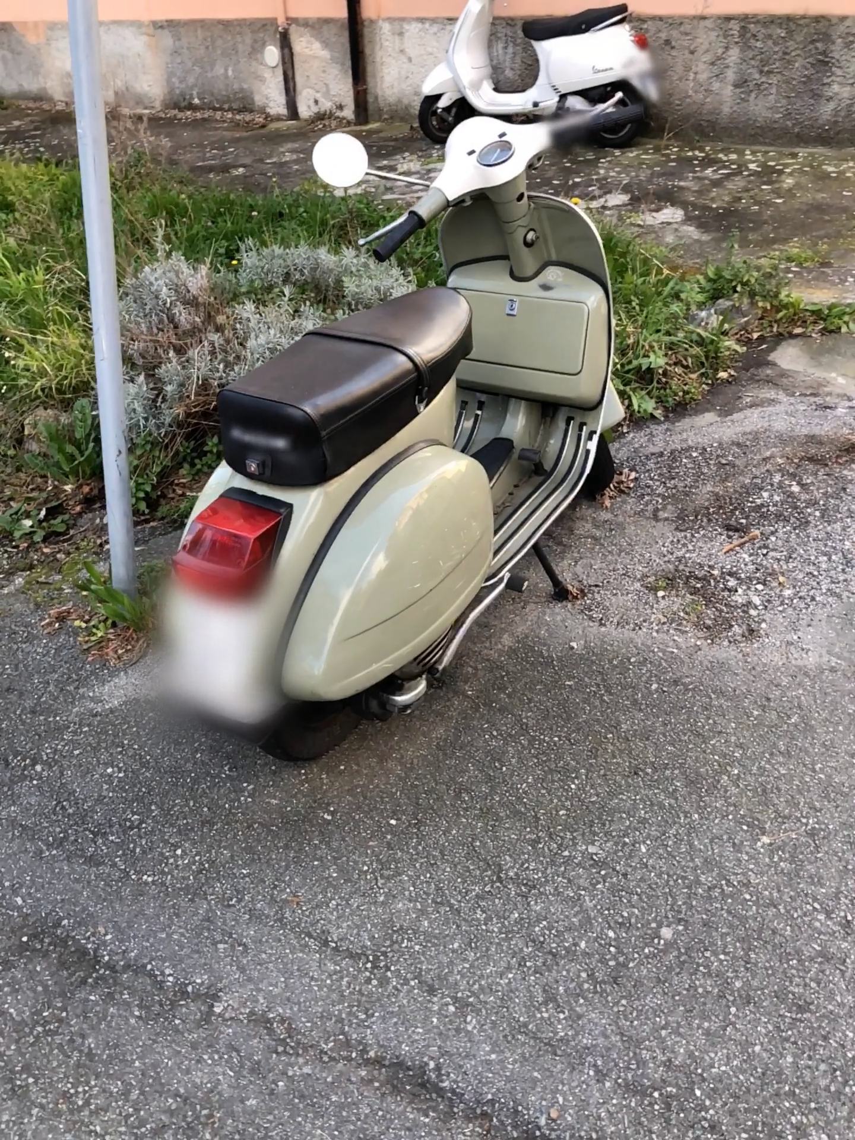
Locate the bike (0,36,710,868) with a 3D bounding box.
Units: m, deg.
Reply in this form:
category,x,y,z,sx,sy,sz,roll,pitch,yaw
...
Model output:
category,x,y,z,sx,sy,sz,roll,pitch,yaw
bike,0.018,-0.393,1.957,0.621,1.027,1.447,16,40,23
